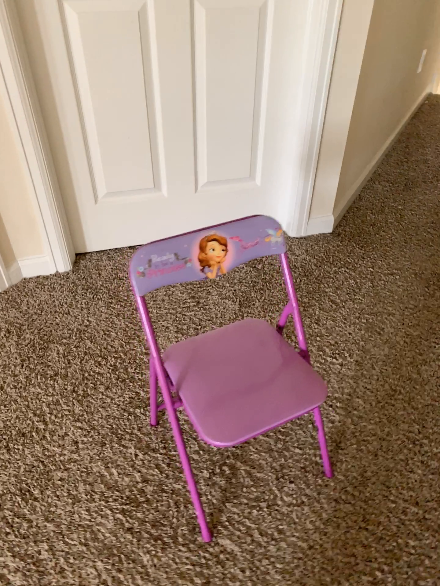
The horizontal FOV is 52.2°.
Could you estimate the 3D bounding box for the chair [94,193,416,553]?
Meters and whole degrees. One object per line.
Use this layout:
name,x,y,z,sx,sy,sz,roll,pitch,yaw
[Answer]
chair,0.033,0.141,0.889,0.380,0.468,0.392,-18,44,-21
